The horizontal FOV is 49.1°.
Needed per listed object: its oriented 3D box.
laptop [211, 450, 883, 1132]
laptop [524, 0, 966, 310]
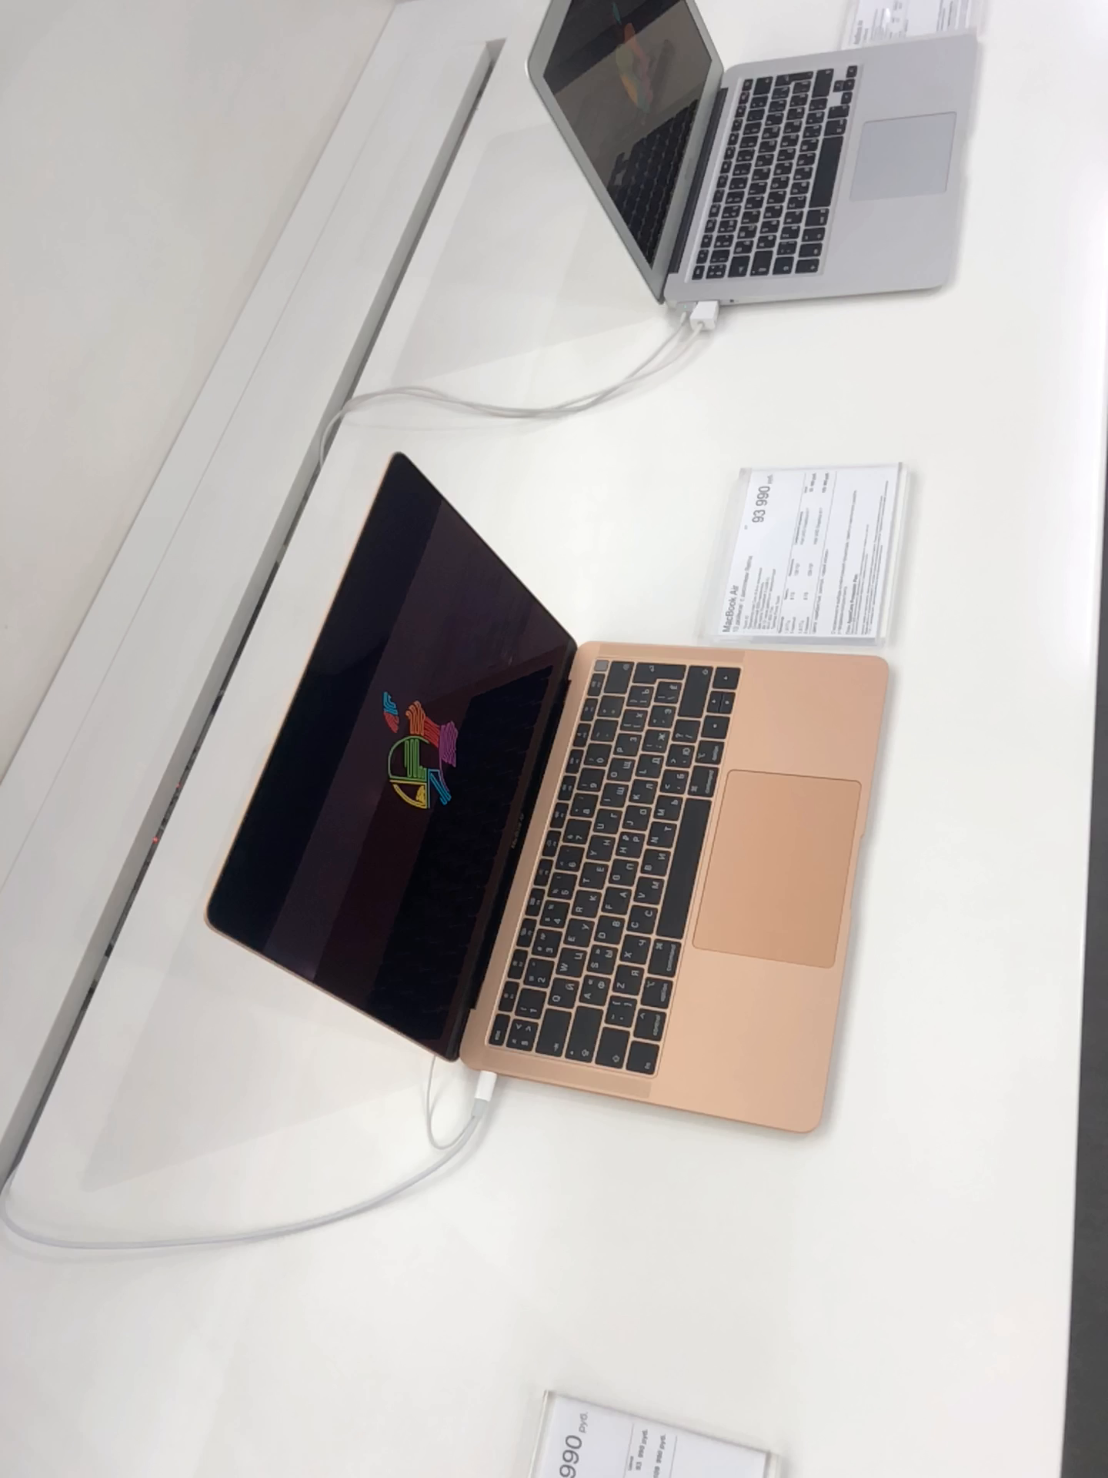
[{"bbox_3d":[0.023,0.017,0.673,0.264,0.188,0.298,5,60,22],"label":"laptop"},{"bbox_3d":[0.178,-0.561,0.989,0.283,0.209,0.364,3,58,22],"label":"laptop"}]
